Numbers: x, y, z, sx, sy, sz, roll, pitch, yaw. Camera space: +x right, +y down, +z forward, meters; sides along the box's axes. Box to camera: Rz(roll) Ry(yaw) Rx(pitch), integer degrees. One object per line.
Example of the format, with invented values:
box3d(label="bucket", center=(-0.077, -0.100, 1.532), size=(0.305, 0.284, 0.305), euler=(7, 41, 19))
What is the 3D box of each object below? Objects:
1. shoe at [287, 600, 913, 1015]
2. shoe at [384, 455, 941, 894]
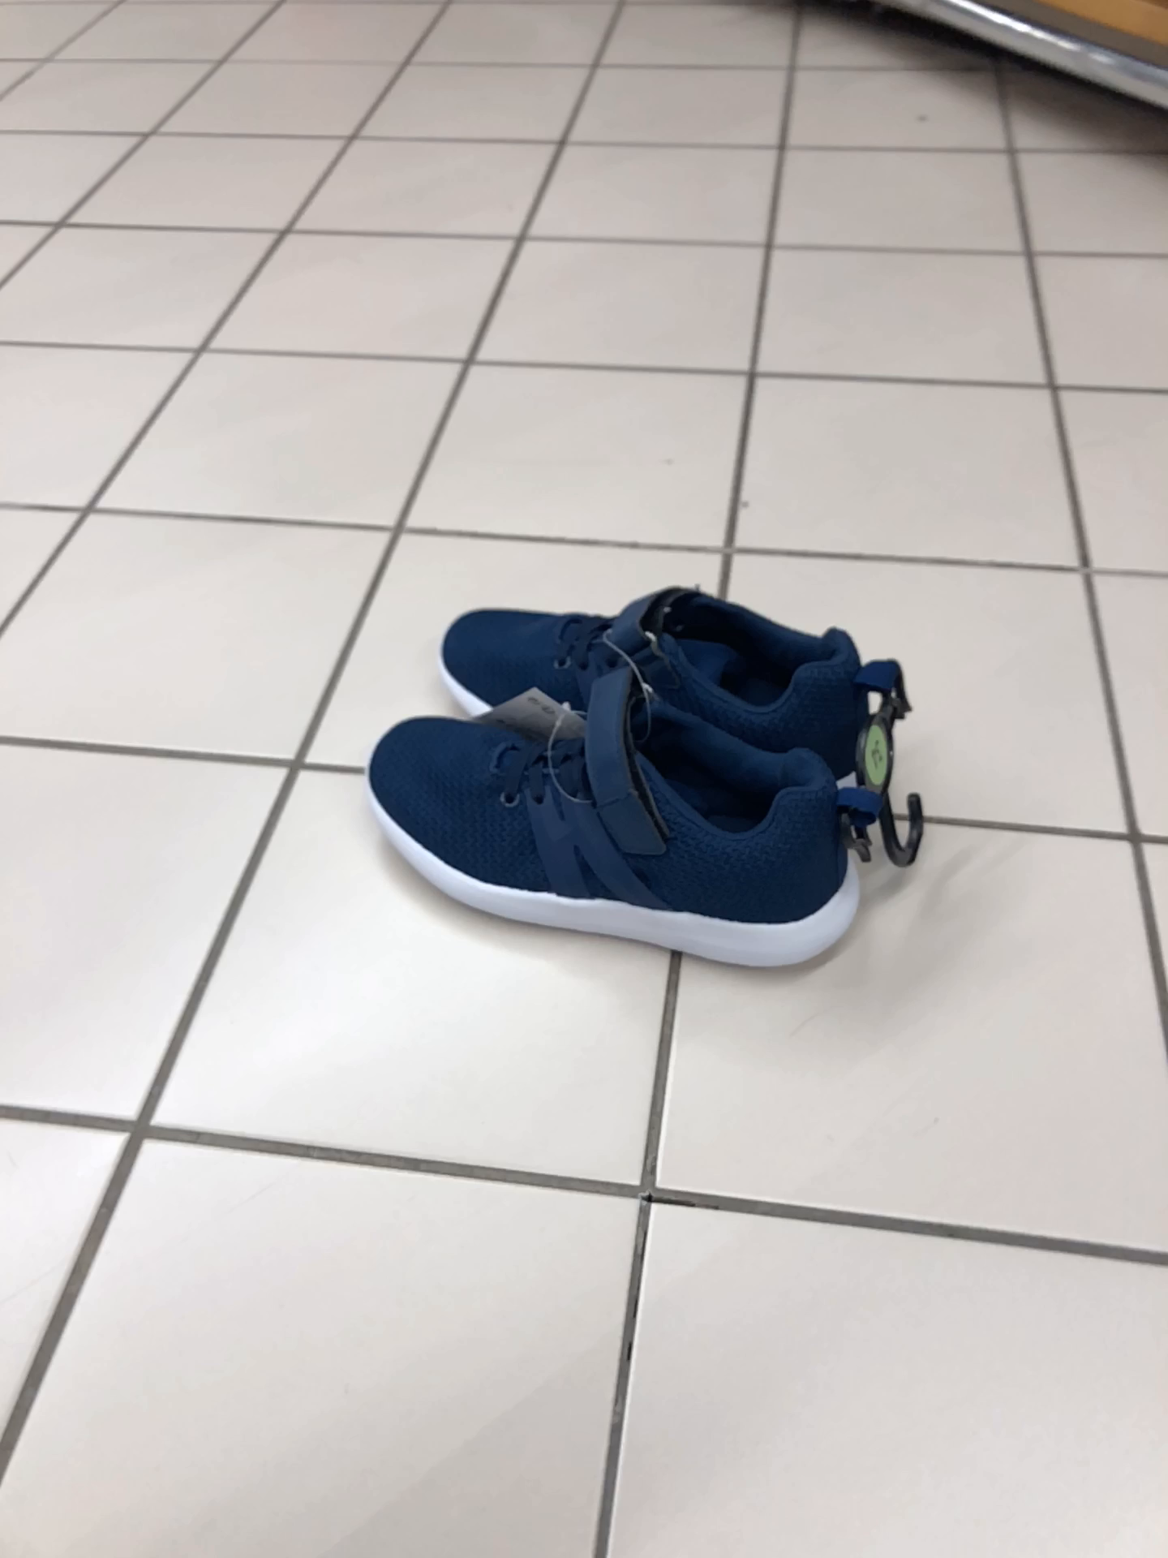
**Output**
box3d(label="shoe", center=(0.009, 0.008, 0.559), size=(0.237, 0.095, 0.094), euler=(12, 48, 14))
box3d(label="shoe", center=(0.033, -0.058, 0.623), size=(0.236, 0.094, 0.103), euler=(25, 52, 24))
